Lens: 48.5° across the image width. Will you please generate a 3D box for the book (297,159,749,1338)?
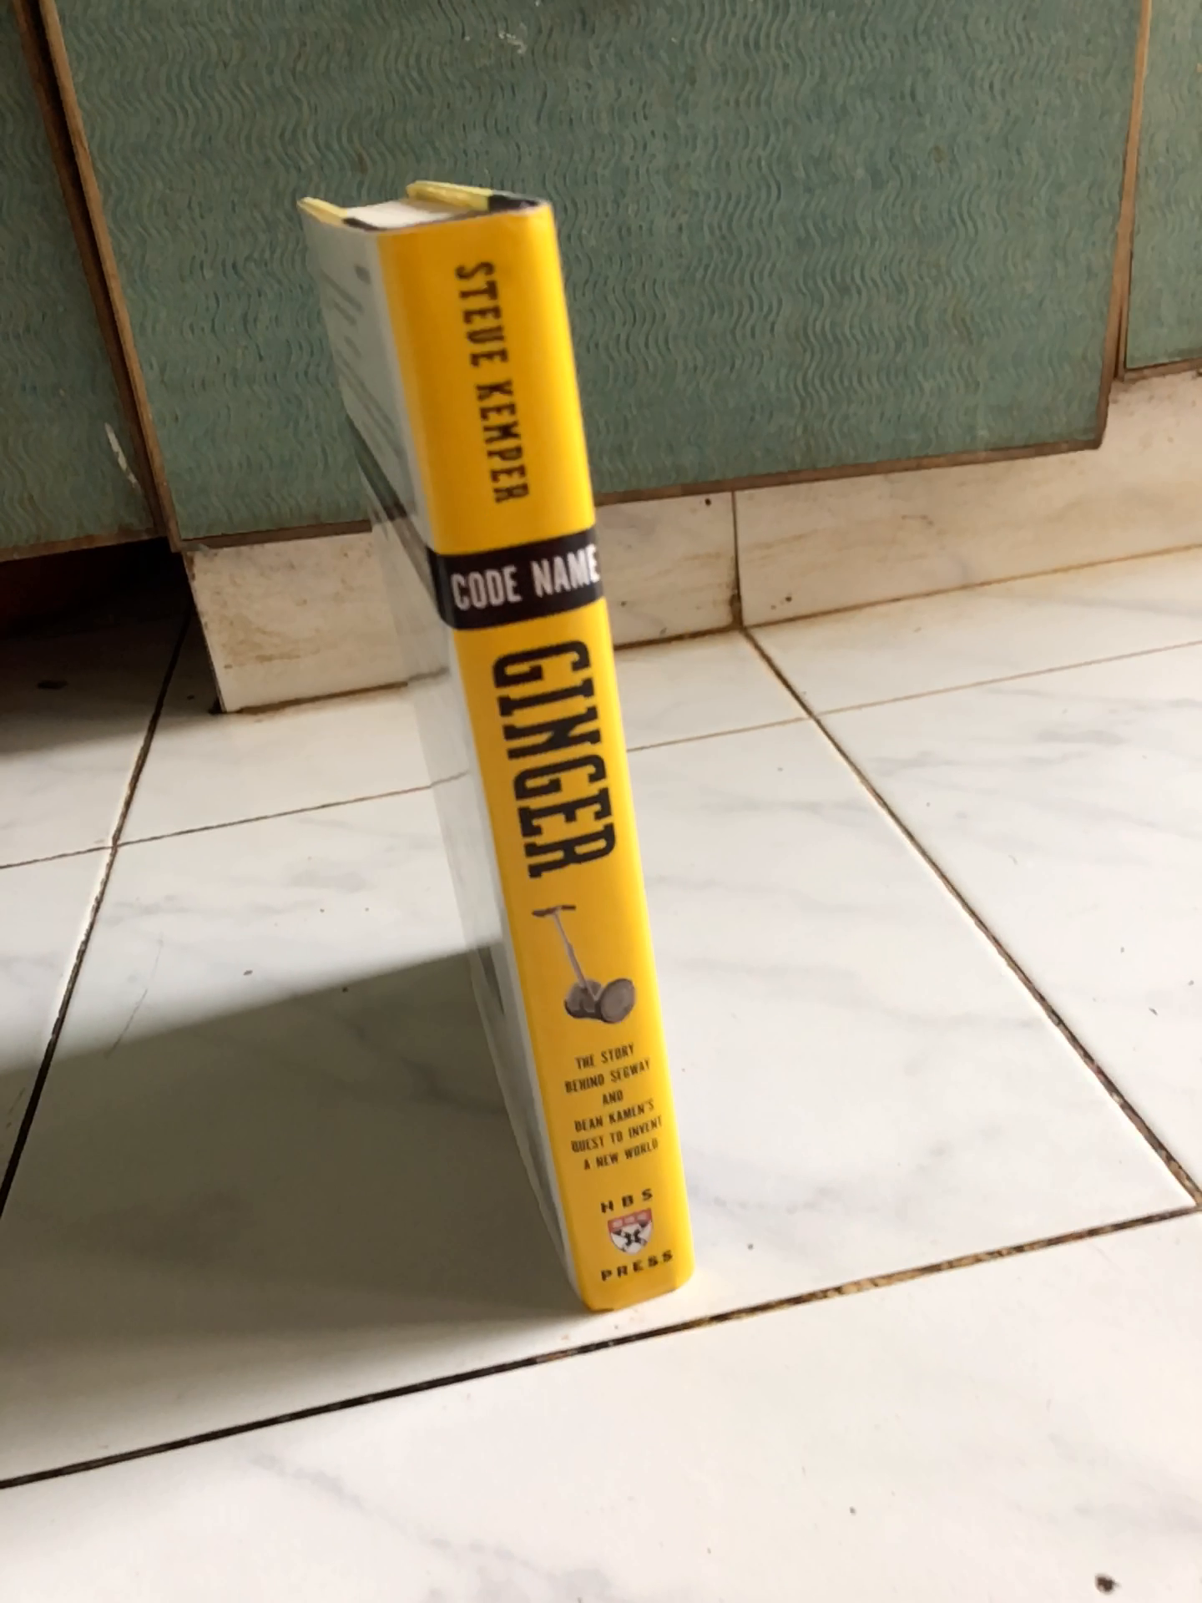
[{"bbox_3d":[-0.024,-0.027,0.337,0.040,0.239,0.191,-13,28,-9],"label":"book"}]
